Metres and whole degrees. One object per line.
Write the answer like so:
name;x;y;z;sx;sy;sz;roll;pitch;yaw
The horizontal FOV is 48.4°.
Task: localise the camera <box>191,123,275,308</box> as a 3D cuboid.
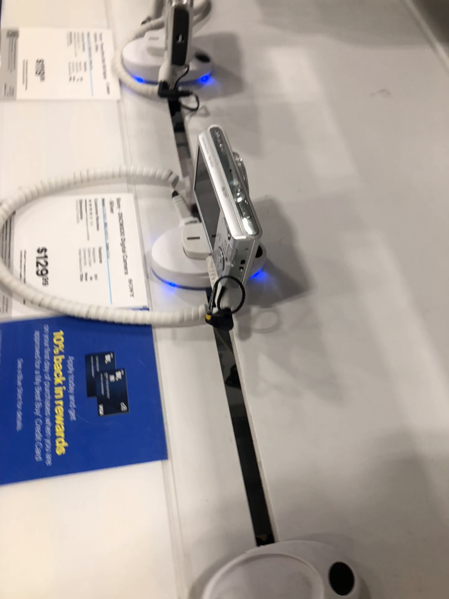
camera;0.001;-0.052;0.315;0.020;0.070;0.090;-8;60;-14
